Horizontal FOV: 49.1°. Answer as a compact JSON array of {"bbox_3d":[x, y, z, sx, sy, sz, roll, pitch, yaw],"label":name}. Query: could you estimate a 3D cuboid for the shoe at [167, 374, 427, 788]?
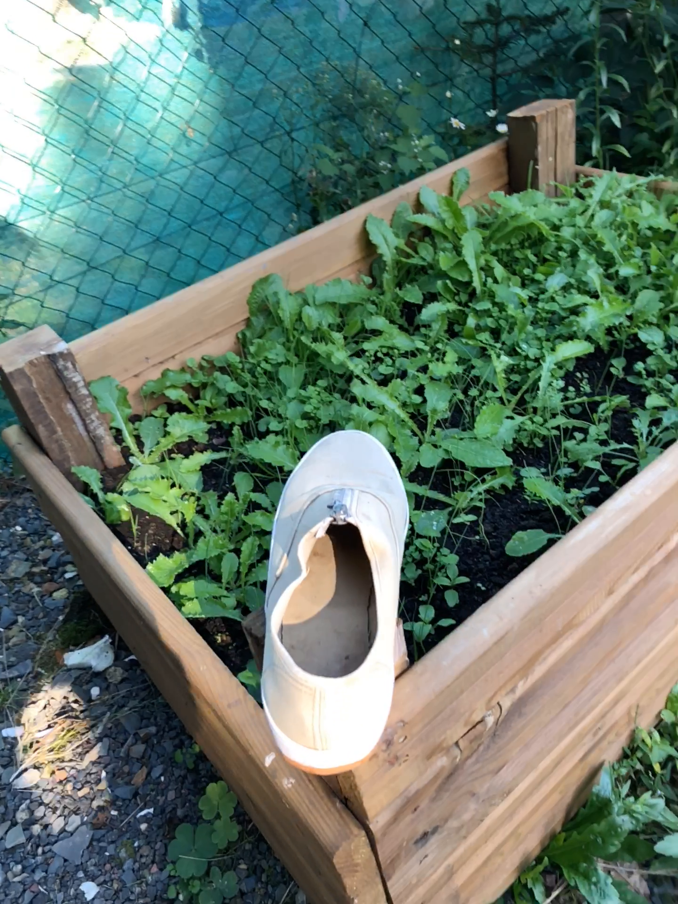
[{"bbox_3d":[-0.006,0.058,0.457,0.110,0.070,0.262,-2,40,10],"label":"shoe"}]
